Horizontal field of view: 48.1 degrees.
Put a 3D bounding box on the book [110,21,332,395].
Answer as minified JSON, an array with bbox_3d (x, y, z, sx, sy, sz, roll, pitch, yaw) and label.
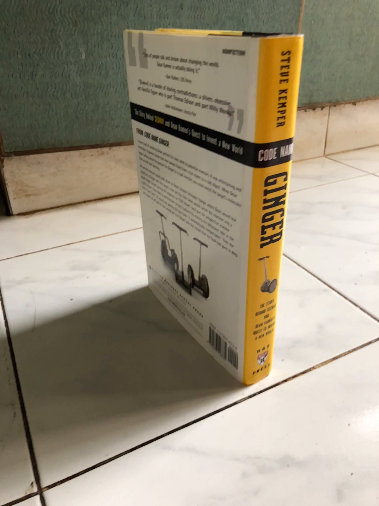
[{"bbox_3d":[0.007,-0.044,0.333,0.040,0.239,0.191,-18,34,-26],"label":"book"}]
